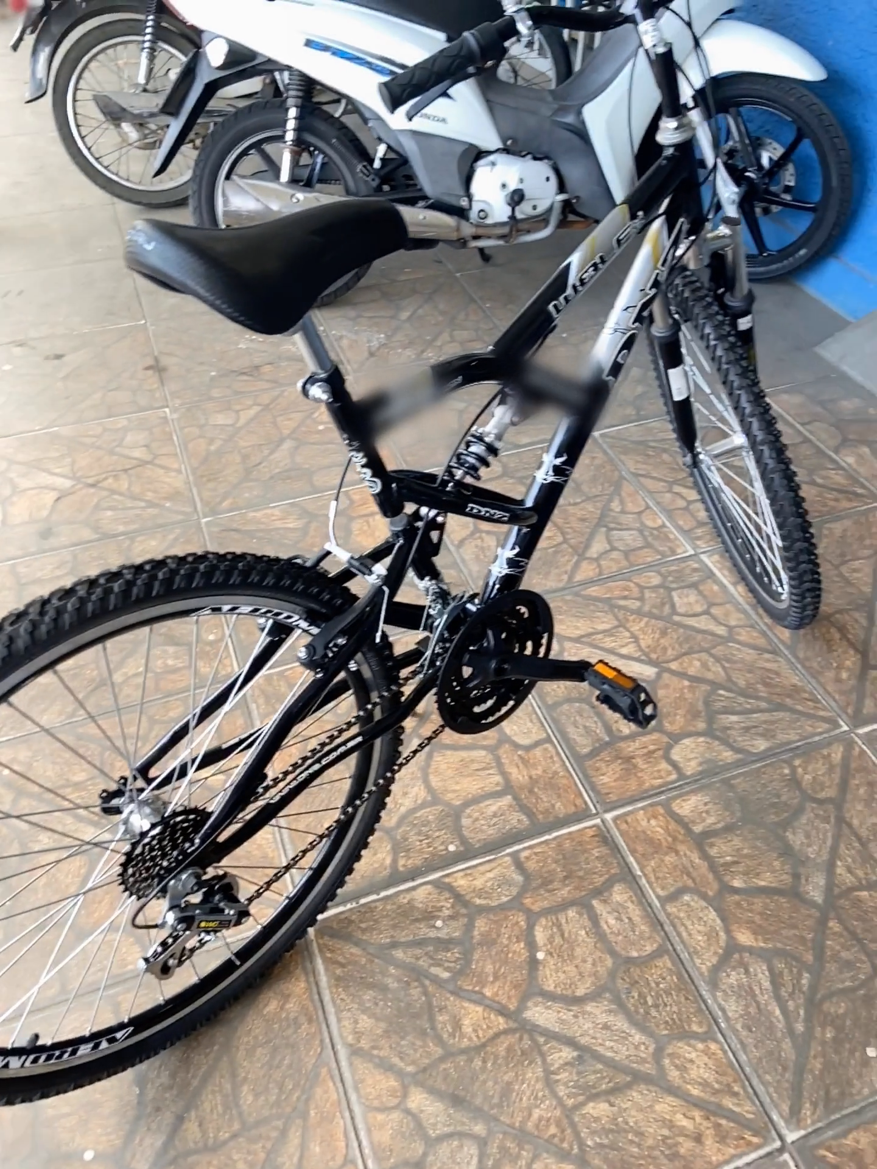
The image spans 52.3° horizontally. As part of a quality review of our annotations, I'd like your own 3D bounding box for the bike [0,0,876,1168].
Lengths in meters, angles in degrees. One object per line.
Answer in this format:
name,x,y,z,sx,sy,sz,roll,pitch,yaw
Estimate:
bike,-0.036,-0.202,1.046,0.604,1.153,1.592,29,53,27
